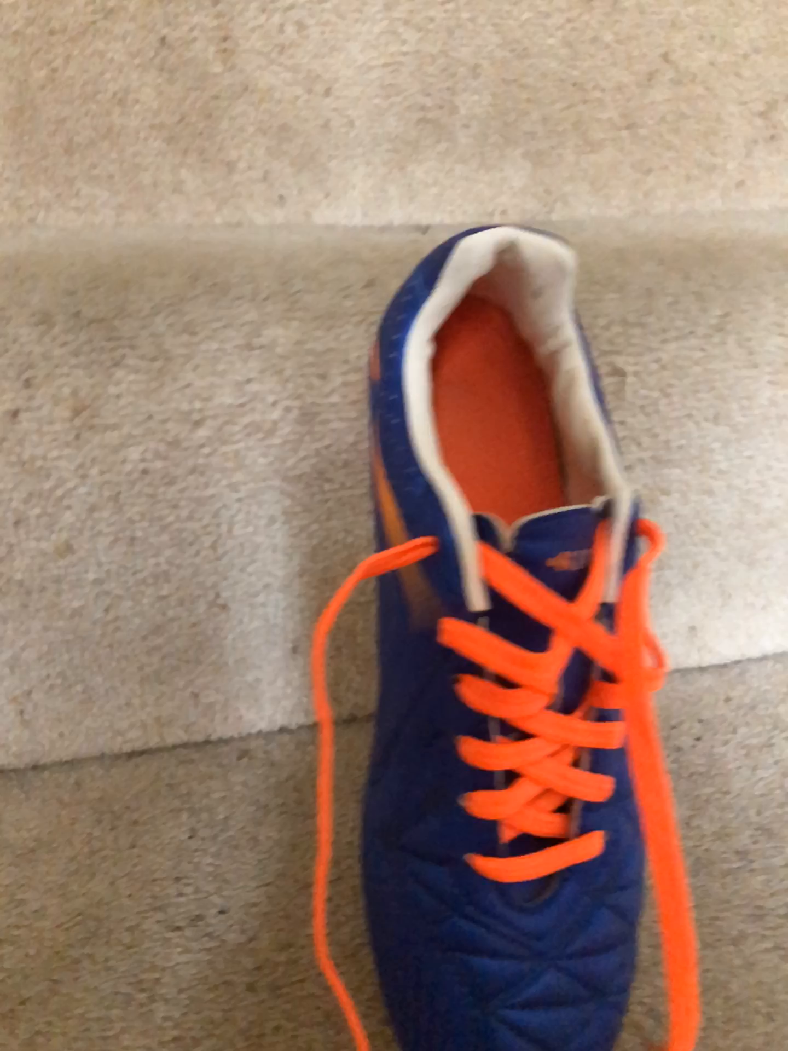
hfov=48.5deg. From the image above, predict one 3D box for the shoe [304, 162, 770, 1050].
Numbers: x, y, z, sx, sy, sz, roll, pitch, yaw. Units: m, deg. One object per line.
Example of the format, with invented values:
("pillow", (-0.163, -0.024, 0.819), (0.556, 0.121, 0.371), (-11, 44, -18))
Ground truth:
("shoe", (0.021, 0.028, 0.234), (0.070, 0.211, 0.100), (0, -15, -13))
